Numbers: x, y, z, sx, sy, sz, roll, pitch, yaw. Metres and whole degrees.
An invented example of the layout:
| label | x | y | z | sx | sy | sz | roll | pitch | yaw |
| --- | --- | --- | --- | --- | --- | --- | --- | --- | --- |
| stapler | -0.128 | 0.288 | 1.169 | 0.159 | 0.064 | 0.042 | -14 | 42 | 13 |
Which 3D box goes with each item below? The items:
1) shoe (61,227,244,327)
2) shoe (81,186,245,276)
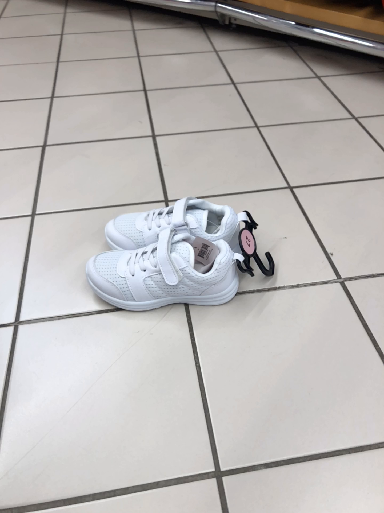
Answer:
| label | x | y | z | sx | sy | sz | roll | pitch | yaw |
| --- | --- | --- | --- | --- | --- | --- | --- | --- | --- |
| shoe | -0.040 | 0.024 | 0.516 | 0.200 | 0.080 | 0.080 | 2 | 45 | 3 |
| shoe | -0.033 | -0.035 | 0.570 | 0.200 | 0.080 | 0.080 | 2 | 45 | 3 |
